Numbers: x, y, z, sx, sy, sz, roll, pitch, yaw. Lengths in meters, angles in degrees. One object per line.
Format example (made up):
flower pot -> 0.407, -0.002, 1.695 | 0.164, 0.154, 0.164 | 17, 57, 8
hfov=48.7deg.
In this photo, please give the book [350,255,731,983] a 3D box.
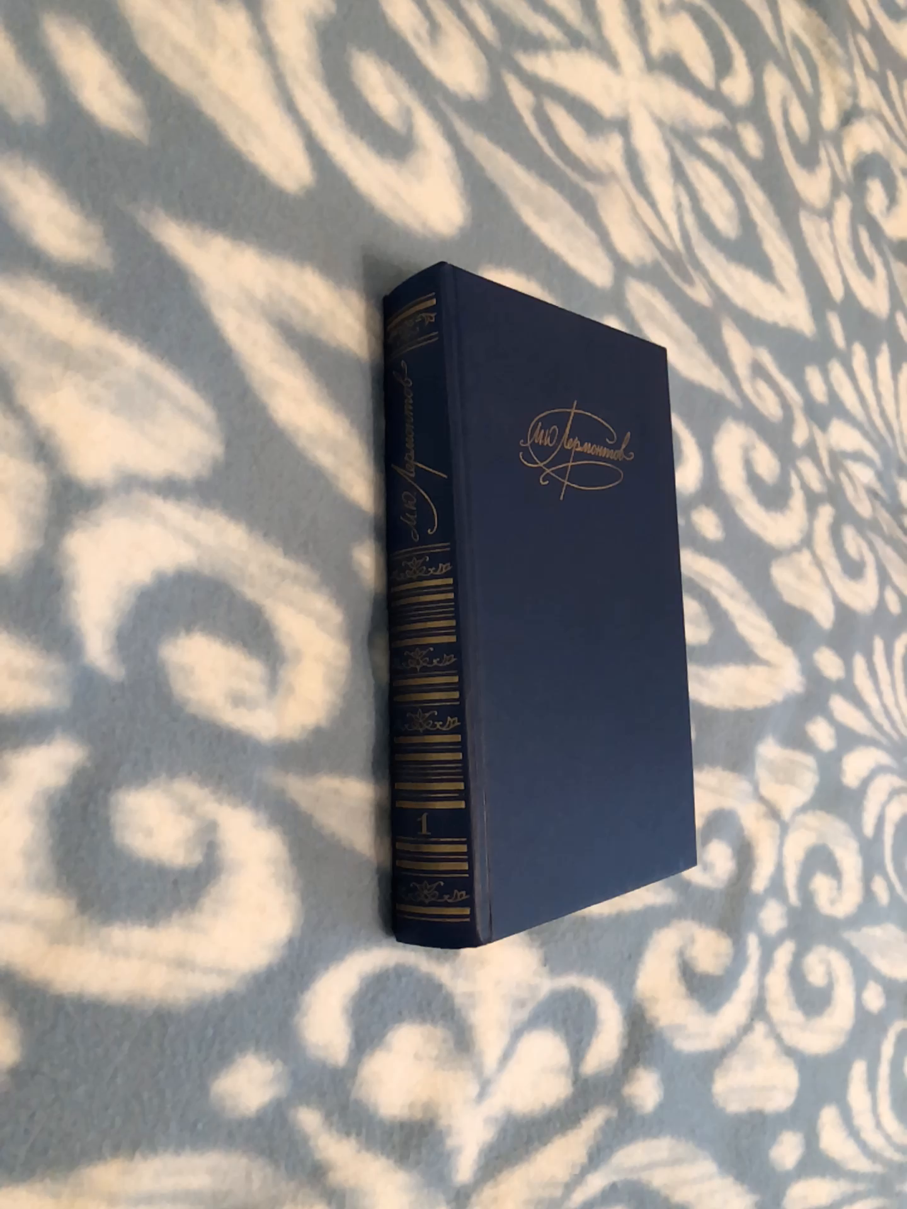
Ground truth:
book -> 0.035, 0.005, 0.338 | 0.139, 0.040, 0.200 | 3, 82, -47
